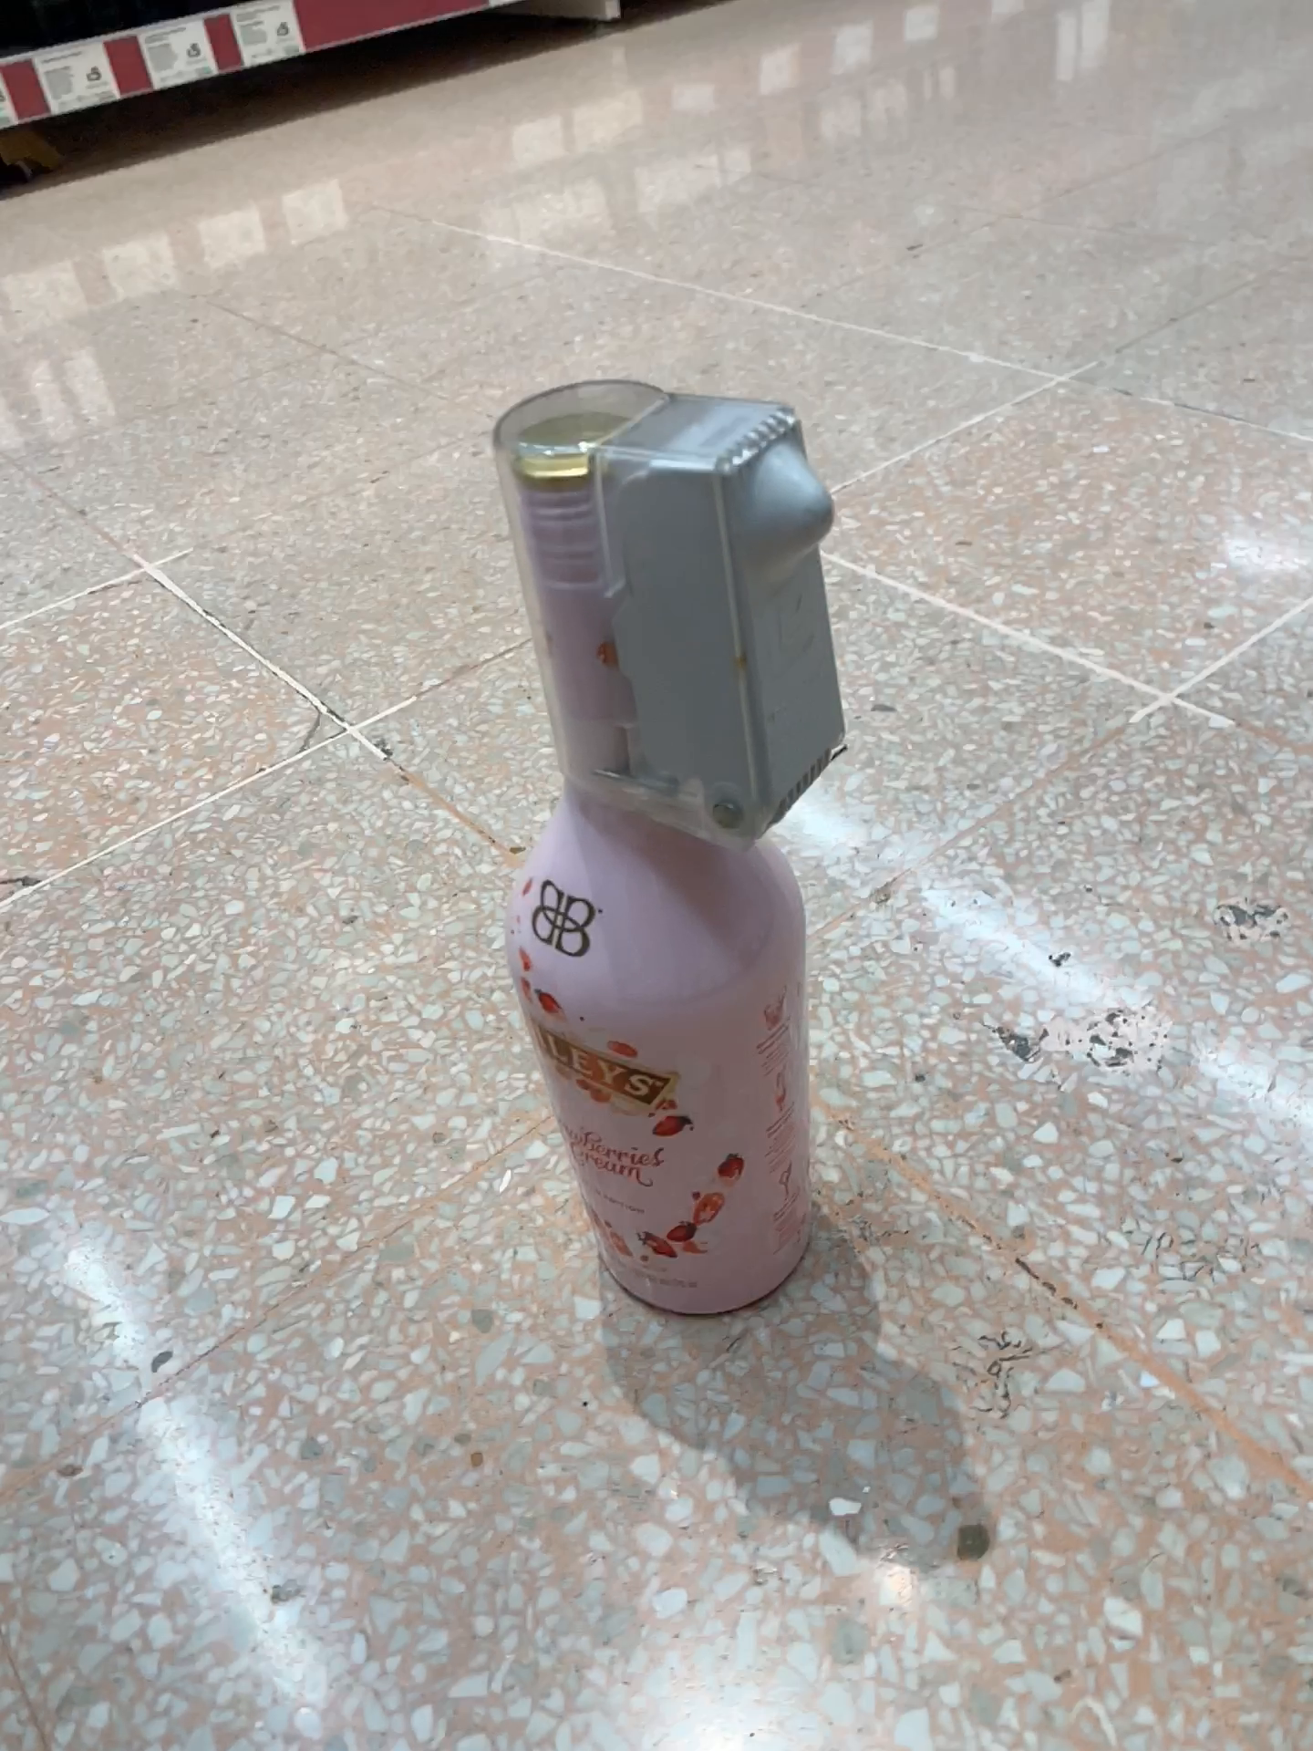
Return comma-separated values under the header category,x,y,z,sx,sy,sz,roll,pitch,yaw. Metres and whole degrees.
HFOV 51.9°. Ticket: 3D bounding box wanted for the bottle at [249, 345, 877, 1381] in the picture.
category,x,y,z,sx,sy,sz,roll,pitch,yaw
bottle,-0.009,0.008,0.355,0.104,0.253,0.073,28,52,37
